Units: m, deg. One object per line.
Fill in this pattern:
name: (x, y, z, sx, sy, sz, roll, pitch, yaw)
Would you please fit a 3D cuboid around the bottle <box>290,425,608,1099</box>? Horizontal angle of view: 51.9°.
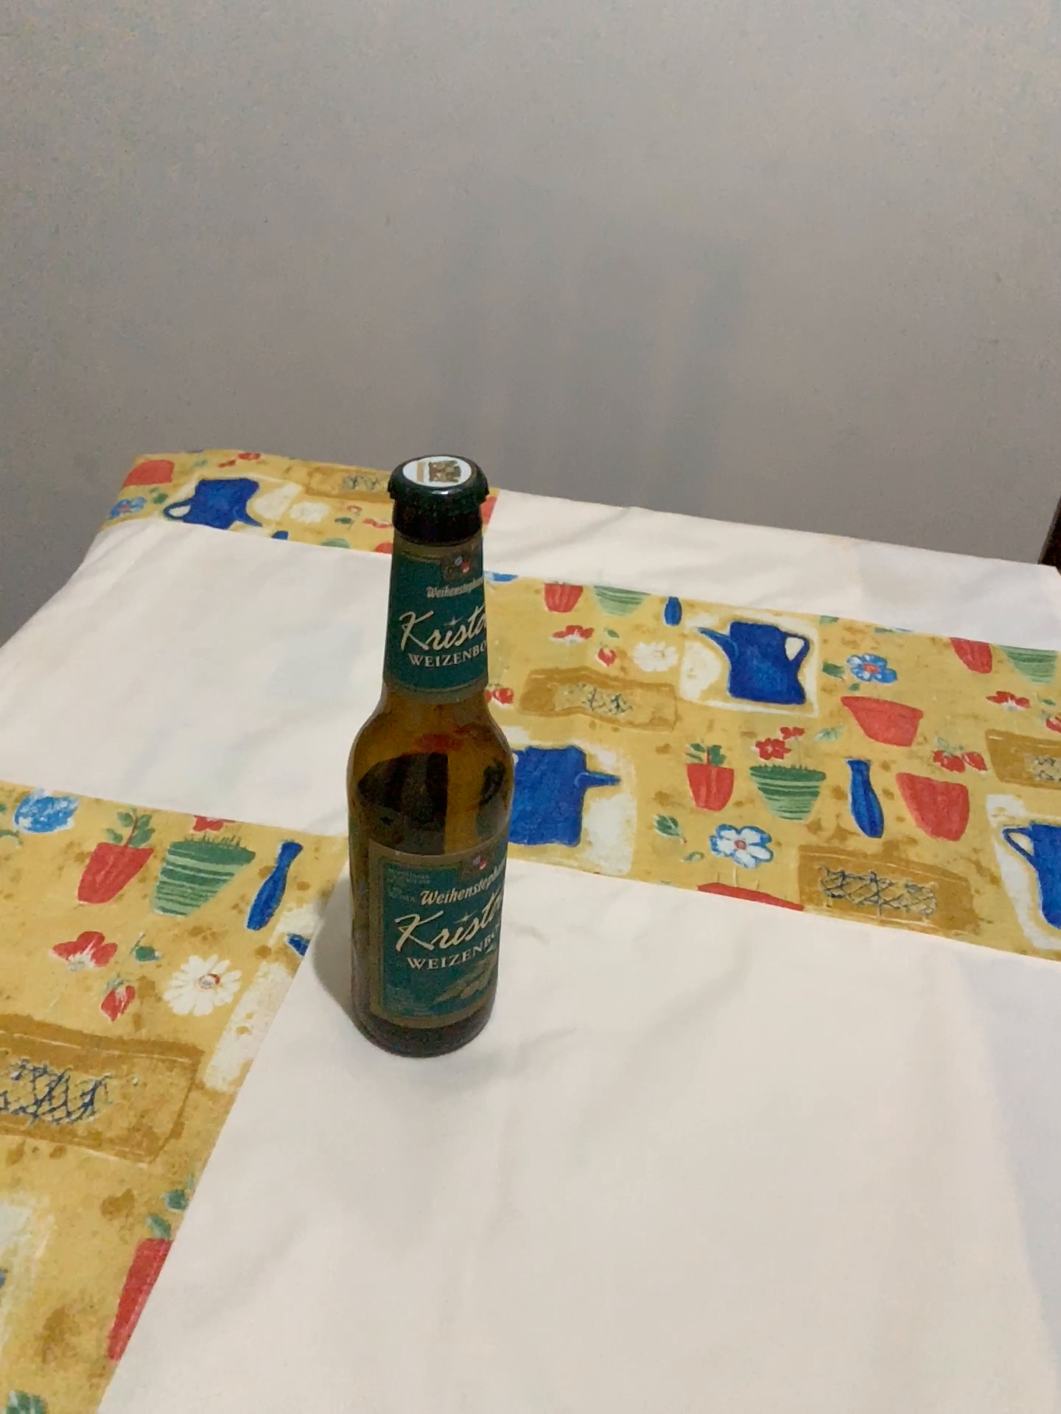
bottle: (-0.032, 0.028, 0.380, 0.070, 0.229, 0.060, -20, 42, -31)
